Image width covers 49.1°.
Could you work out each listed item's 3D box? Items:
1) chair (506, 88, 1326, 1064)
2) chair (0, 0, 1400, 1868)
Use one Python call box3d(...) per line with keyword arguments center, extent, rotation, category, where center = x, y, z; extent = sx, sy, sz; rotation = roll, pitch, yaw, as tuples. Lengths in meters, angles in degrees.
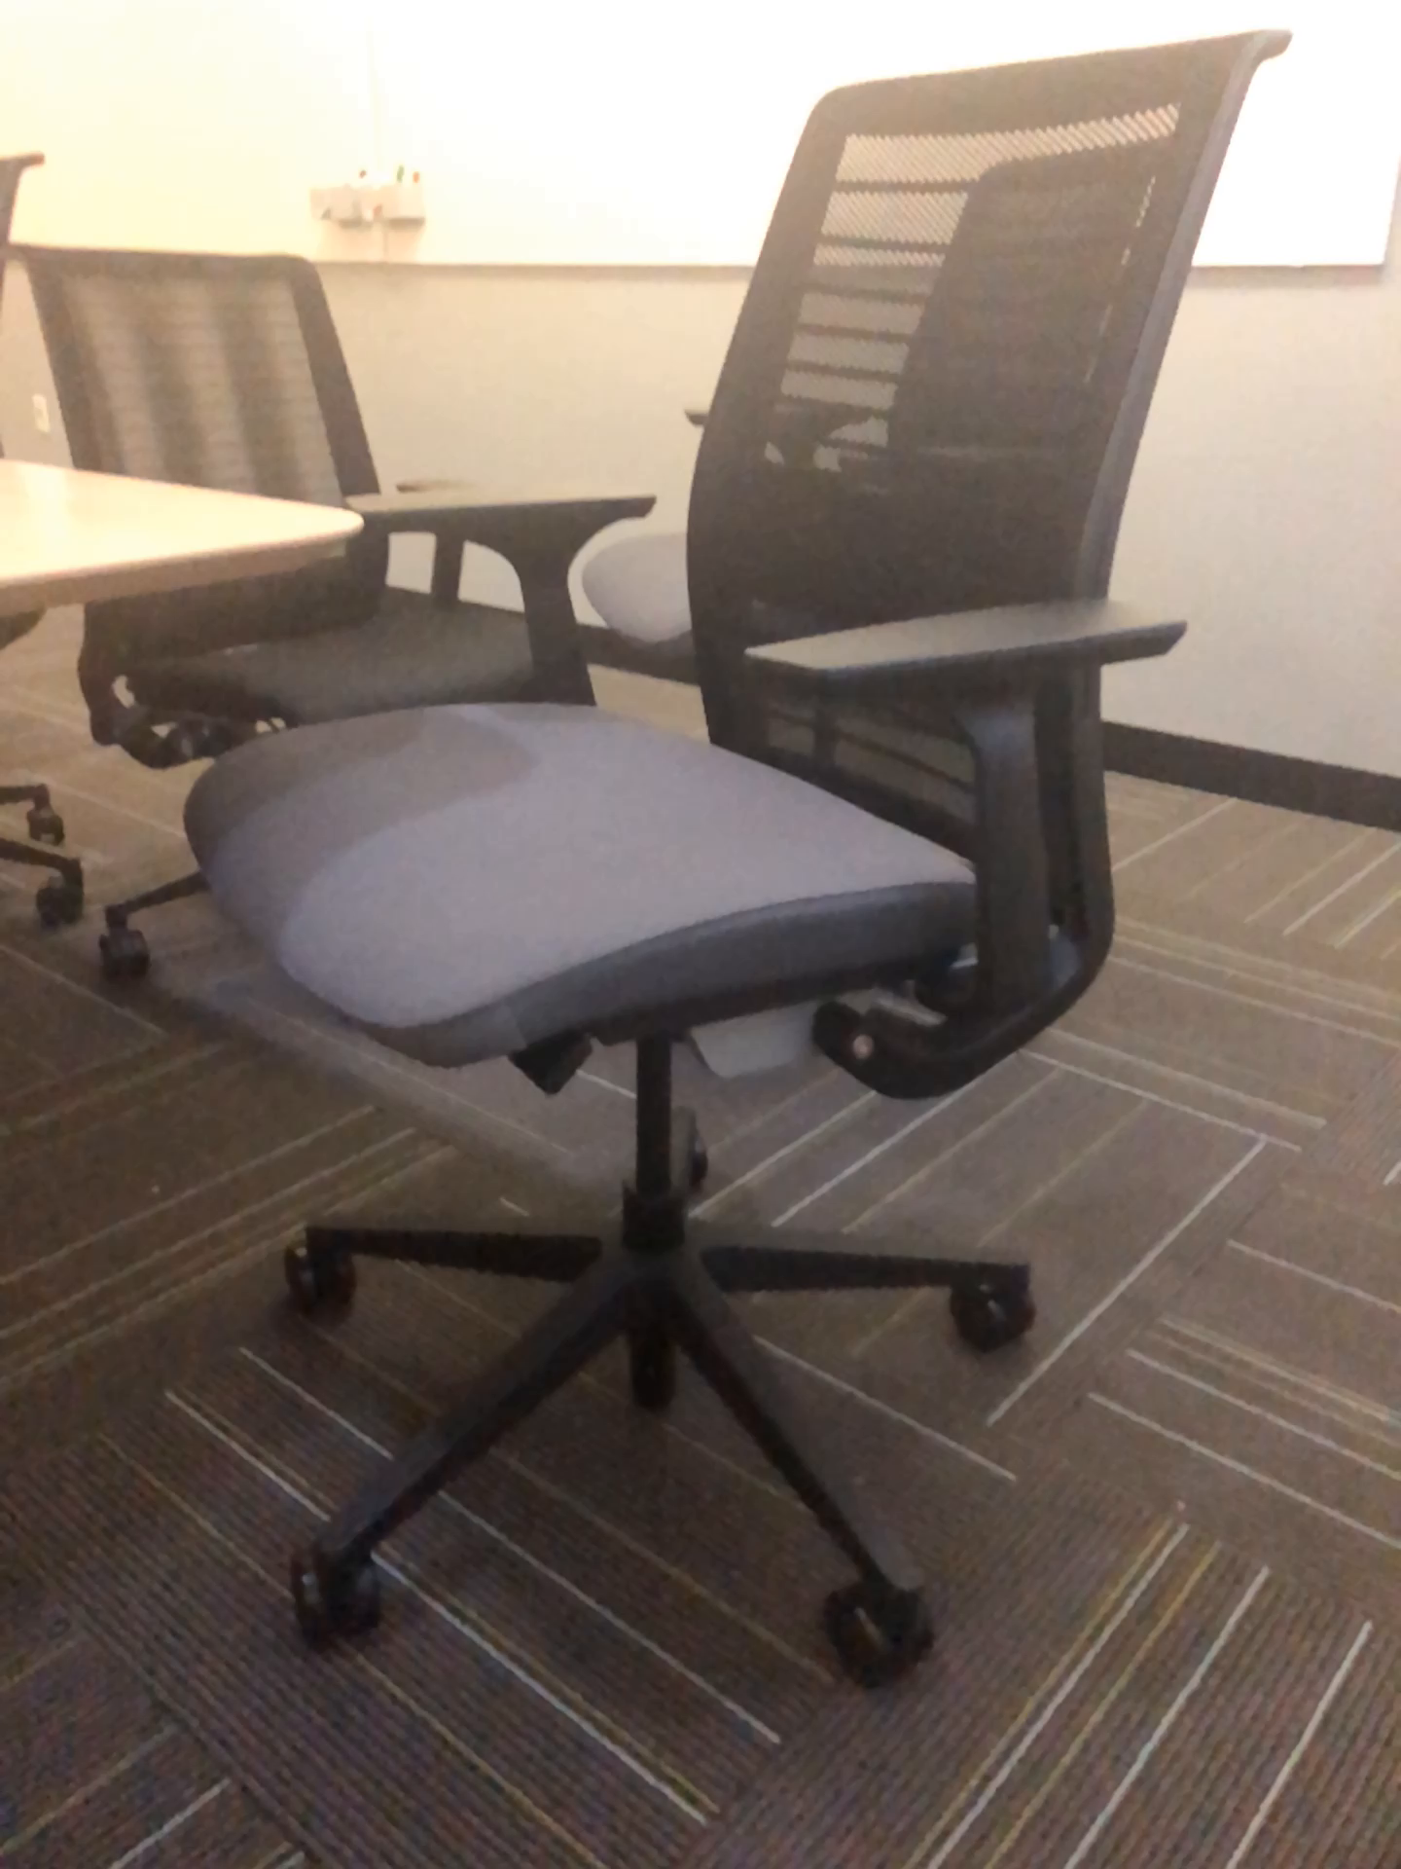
box3d(center=(0.195, -0.473, 1.969), extent=(0.712, 0.964, 0.723), rotation=(-7, 22, -17), category="chair")
box3d(center=(-0.032, -0.115, 1.058), extent=(0.723, 0.964, 0.732), rotation=(-12, 24, -28), category="chair")
